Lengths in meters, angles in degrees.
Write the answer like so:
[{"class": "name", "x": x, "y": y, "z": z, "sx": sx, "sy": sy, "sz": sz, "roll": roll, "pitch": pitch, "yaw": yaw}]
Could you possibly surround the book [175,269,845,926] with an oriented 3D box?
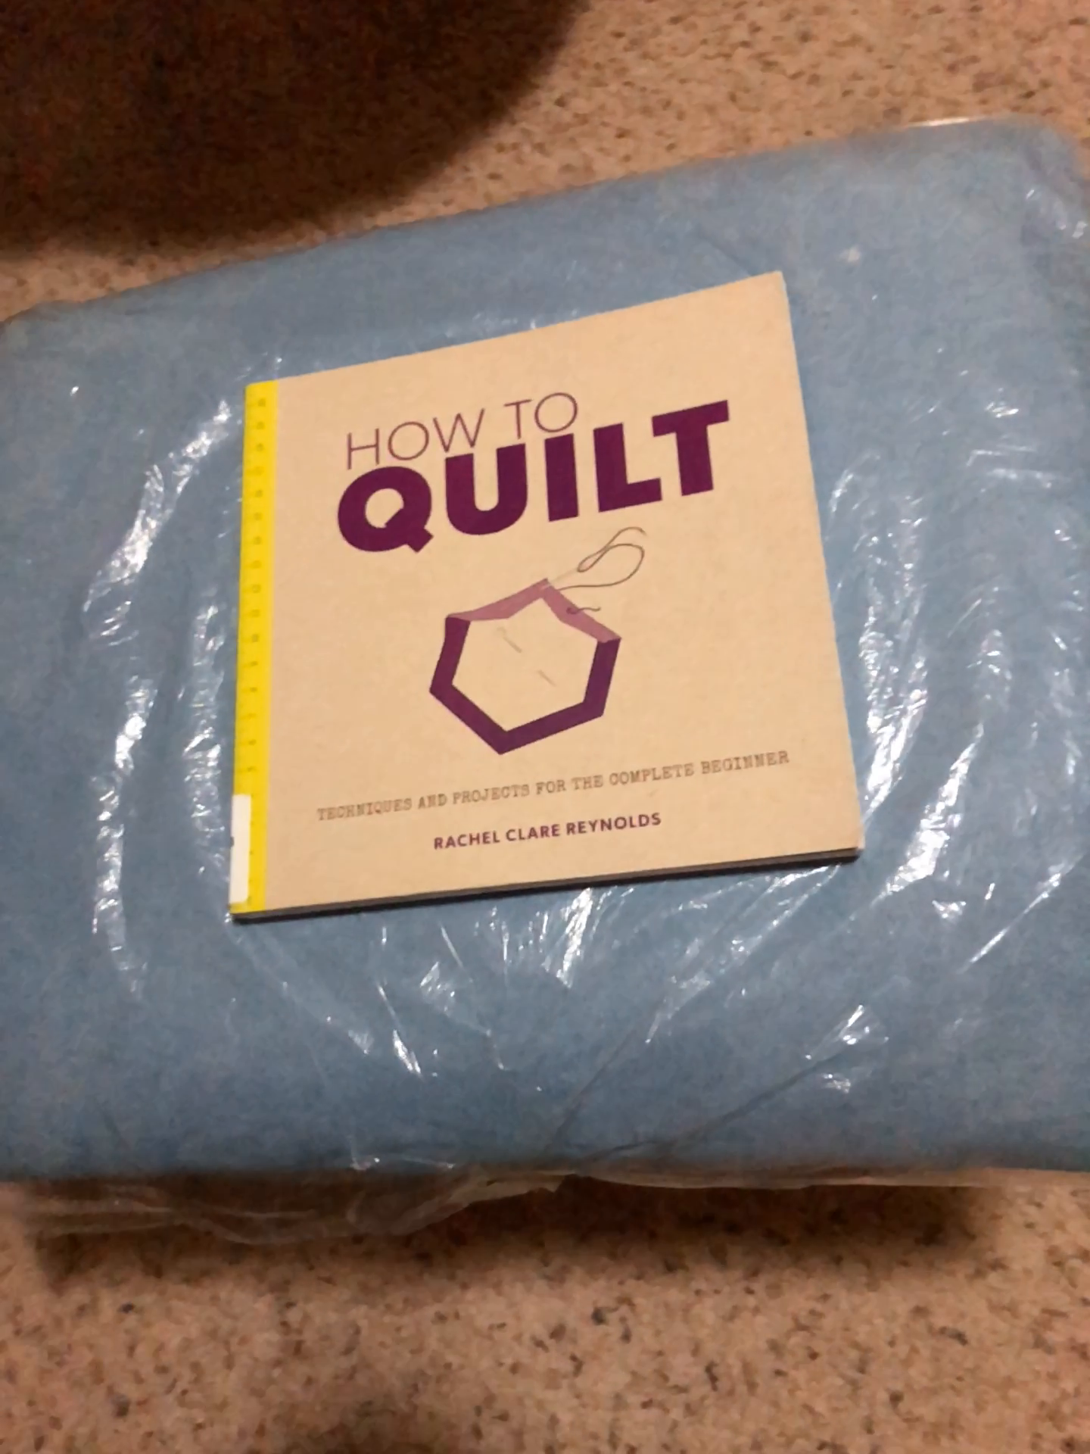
[{"class": "book", "x": -0.020, "y": -0.042, "z": 0.399, "sx": 0.208, "sy": 0.020, "sz": 0.194, "roll": -8, "pitch": 71, "yaw": 13}]
